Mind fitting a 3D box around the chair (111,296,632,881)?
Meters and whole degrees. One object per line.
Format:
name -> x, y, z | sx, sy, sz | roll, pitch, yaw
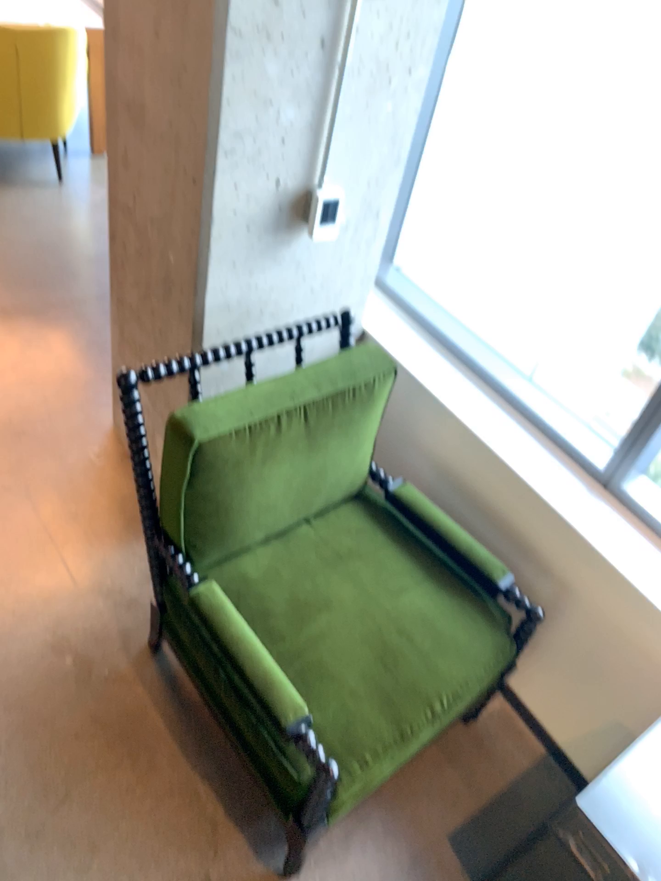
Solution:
chair -> -0.010, 0.349, 1.802 | 0.731, 0.976, 0.922 | -23, 54, -35
